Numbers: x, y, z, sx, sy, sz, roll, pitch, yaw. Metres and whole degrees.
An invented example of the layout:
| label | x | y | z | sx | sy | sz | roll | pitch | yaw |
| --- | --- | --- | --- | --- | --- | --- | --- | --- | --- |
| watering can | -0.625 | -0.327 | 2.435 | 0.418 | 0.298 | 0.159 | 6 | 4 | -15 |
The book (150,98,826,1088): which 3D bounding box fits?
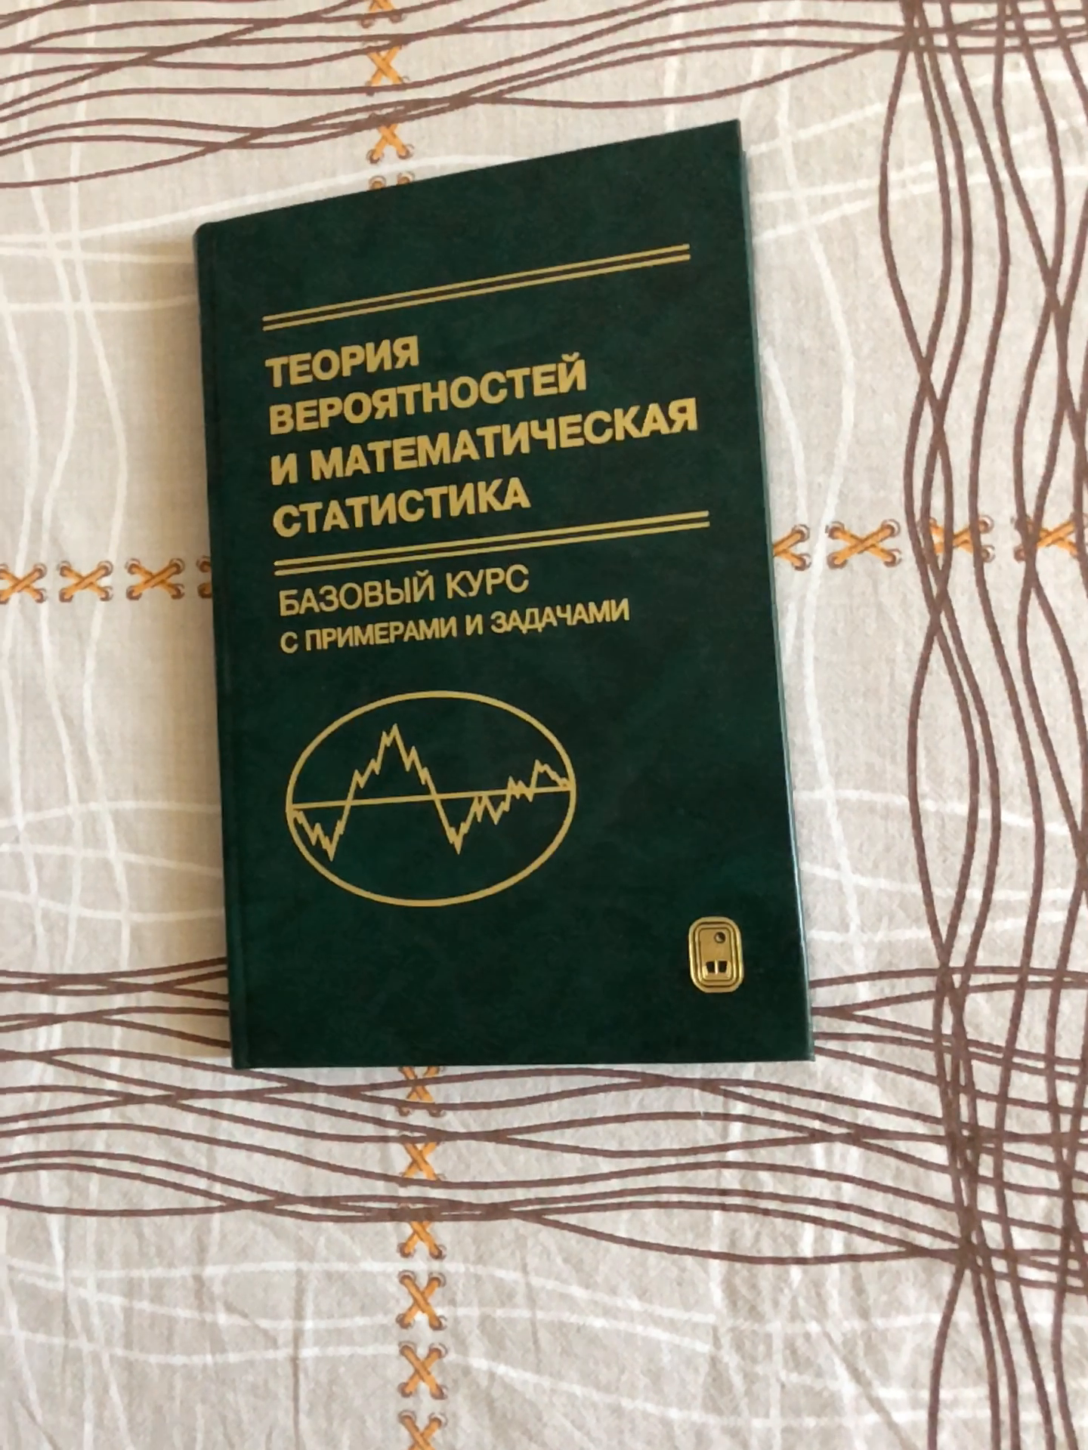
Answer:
| label | x | y | z | sx | sy | sz | roll | pitch | yaw |
| --- | --- | --- | --- | --- | --- | --- | --- | --- | --- |
| book | -0.017 | -0.026 | 0.292 | 0.150 | 0.030 | 0.217 | -4 | 86 | 14 |
